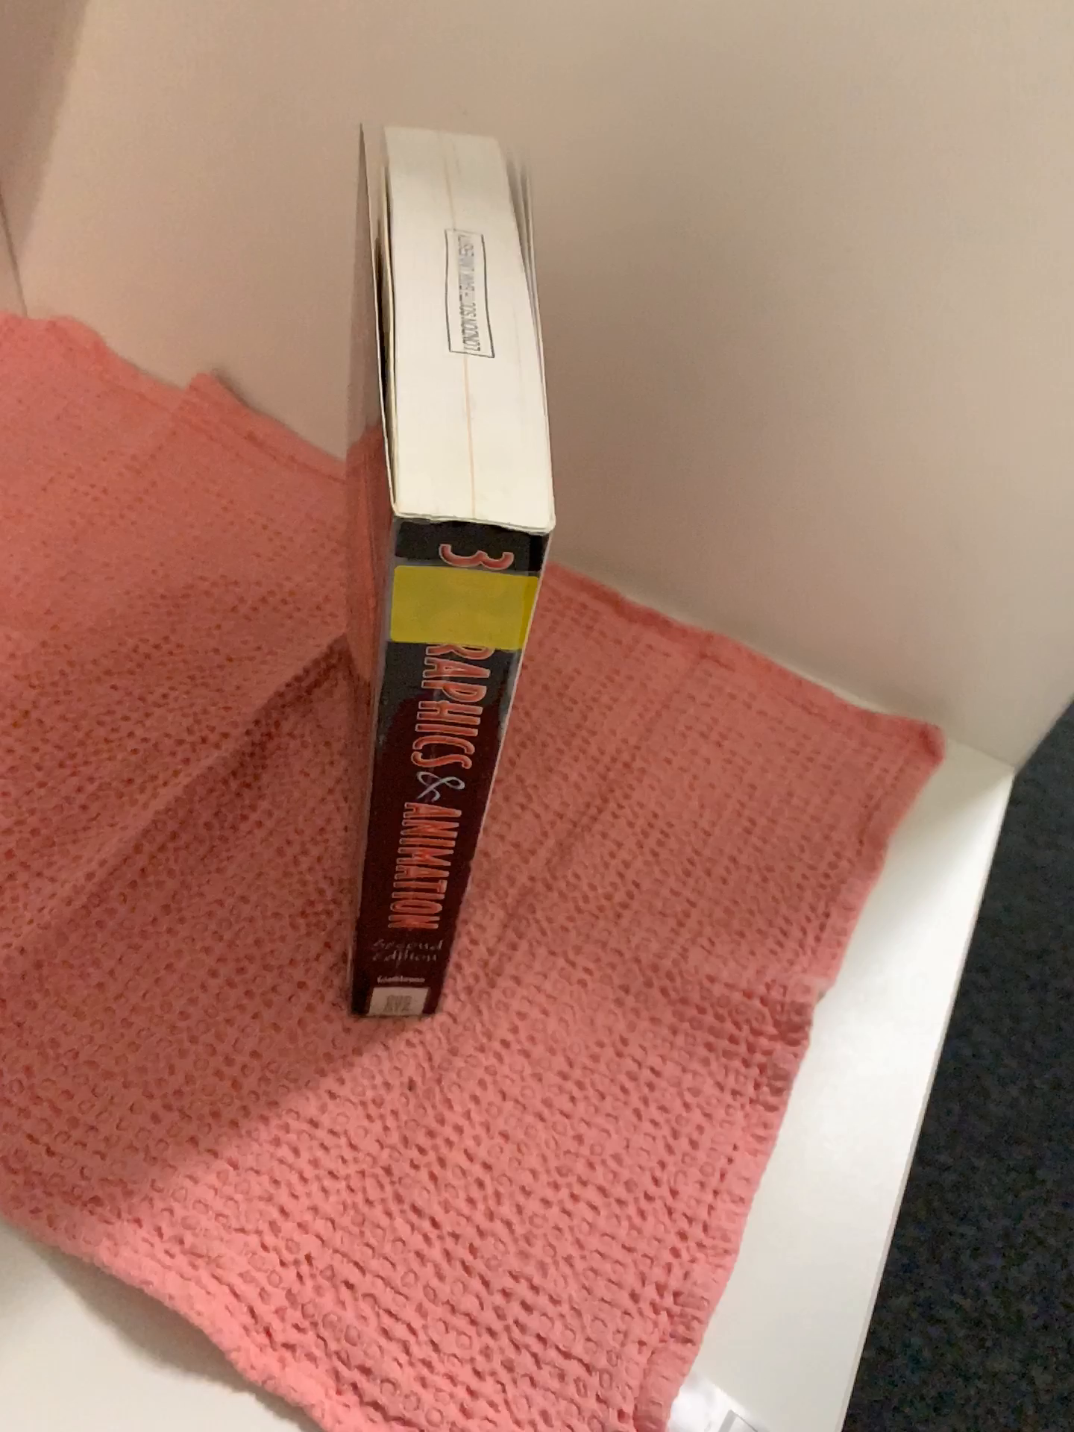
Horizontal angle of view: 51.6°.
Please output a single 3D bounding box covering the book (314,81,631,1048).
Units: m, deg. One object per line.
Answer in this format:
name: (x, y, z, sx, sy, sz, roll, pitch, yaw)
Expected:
book: (-0.043, -0.043, 0.374, 0.060, 0.228, 0.222, 0, 50, -12)
